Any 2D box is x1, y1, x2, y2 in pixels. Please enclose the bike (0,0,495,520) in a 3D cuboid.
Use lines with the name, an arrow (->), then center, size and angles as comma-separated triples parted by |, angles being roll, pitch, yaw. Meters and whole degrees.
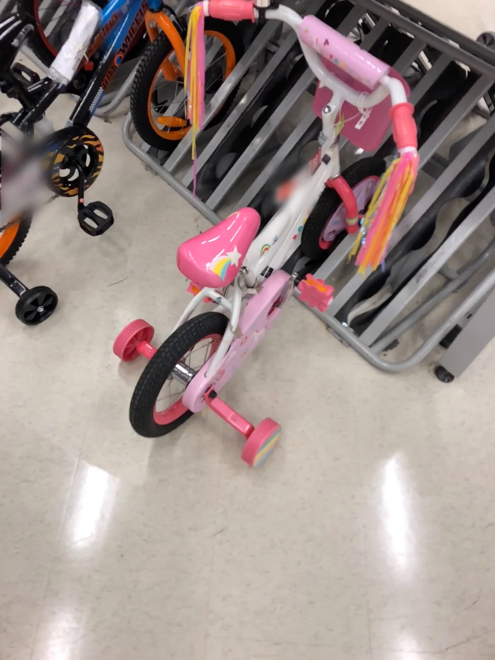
bike -> 0.081, -0.243, 1.071 | 0.516, 0.592, 0.945 | 35, 61, 17
